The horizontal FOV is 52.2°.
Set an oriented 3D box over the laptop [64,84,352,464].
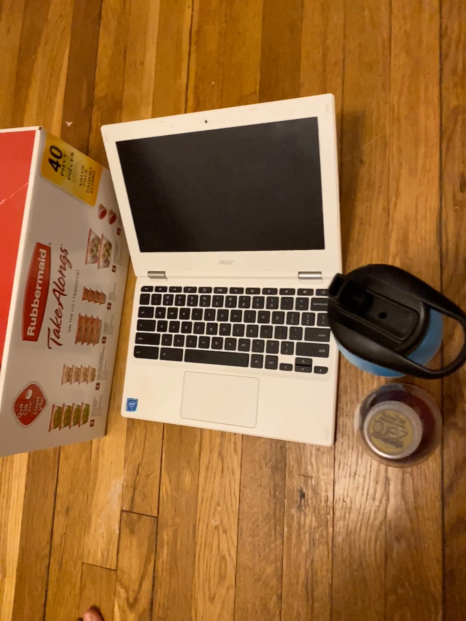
[{"bbox_3d":[-0.027,-0.038,0.559,0.289,0.109,0.364,2,84,25],"label":"laptop"}]
